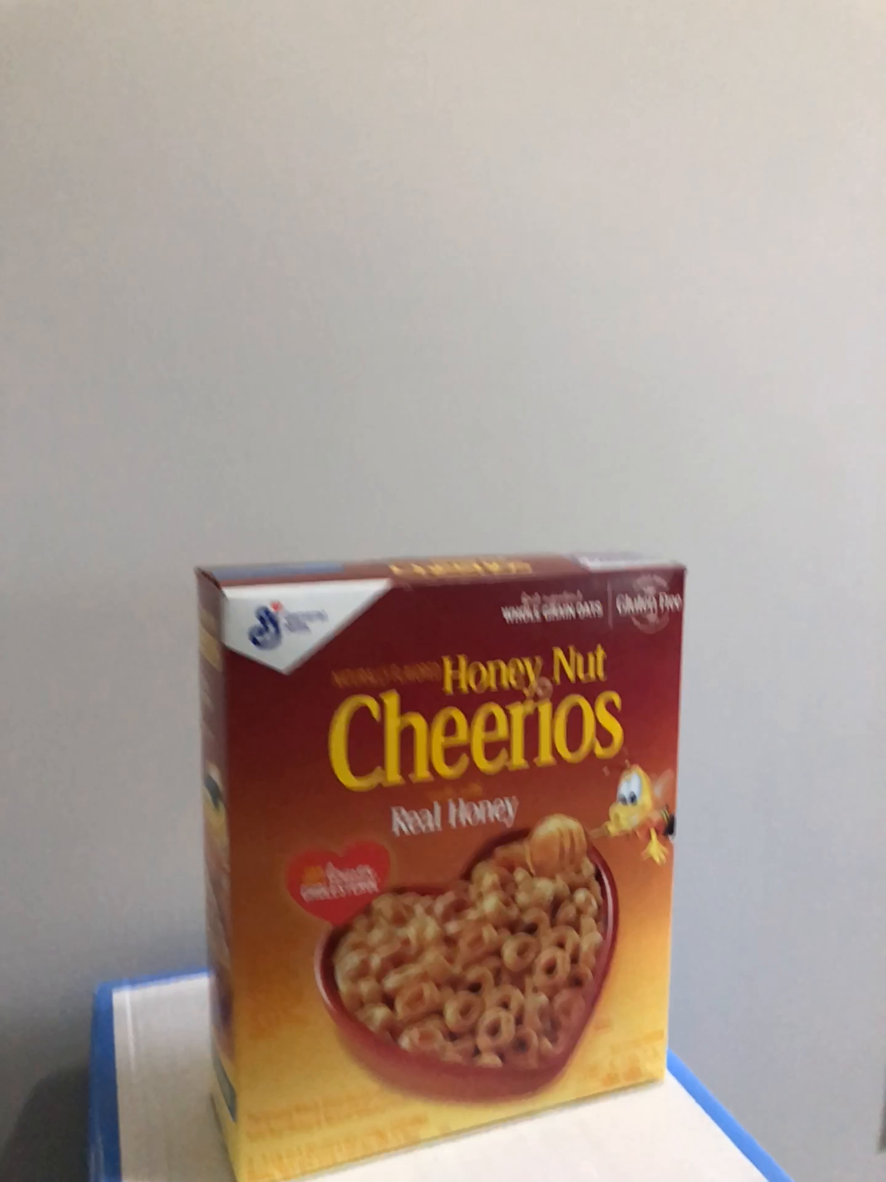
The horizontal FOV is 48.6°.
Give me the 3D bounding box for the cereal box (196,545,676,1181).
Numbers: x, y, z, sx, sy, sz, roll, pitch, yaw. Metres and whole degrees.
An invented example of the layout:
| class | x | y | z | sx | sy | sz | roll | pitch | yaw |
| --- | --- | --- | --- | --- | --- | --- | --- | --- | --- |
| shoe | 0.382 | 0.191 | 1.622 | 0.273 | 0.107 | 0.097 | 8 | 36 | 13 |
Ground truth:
| class | x | y | z | sx | sy | sz | roll | pitch | yaw |
| --- | --- | --- | --- | --- | --- | --- | --- | --- | --- |
| cereal box | -0.003 | 0.137 | 0.539 | 0.240 | 0.309 | 0.080 | -3 | 9 | -21 |
